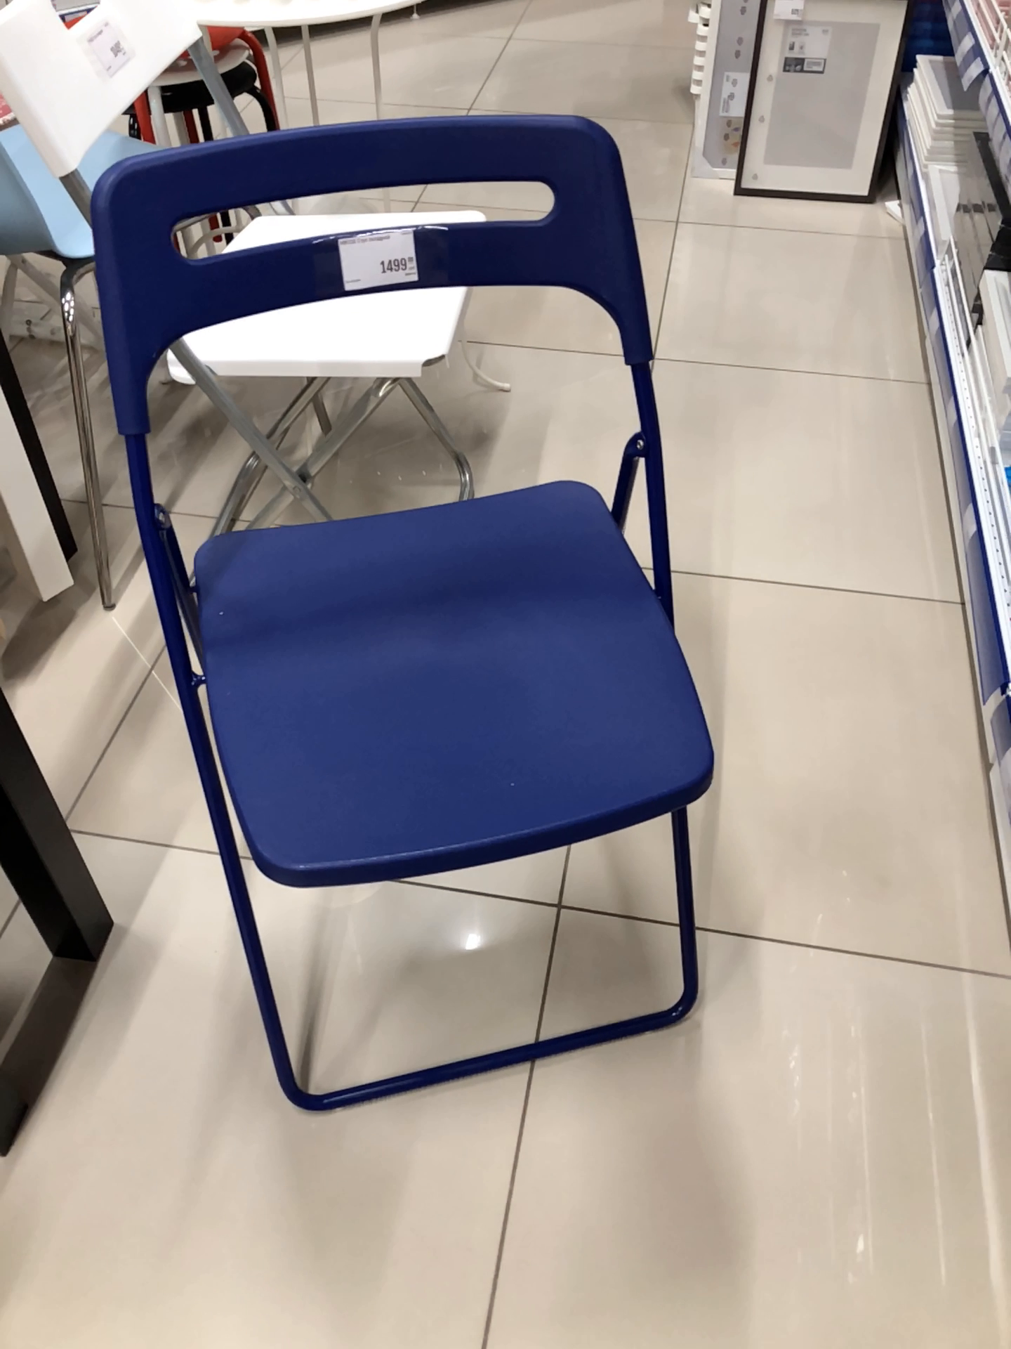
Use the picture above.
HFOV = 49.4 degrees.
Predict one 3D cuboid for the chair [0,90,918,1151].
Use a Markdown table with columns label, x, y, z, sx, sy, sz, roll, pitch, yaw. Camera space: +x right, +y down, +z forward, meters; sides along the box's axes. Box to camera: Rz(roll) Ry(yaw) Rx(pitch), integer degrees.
| label | x | y | z | sx | sy | sz | roll | pitch | yaw |
| --- | --- | --- | --- | --- | --- | --- | --- | --- | --- |
| chair | -0.061 | -0.020 | 0.937 | 0.450 | 0.705 | 0.467 | -10 | 46 | -10 |
